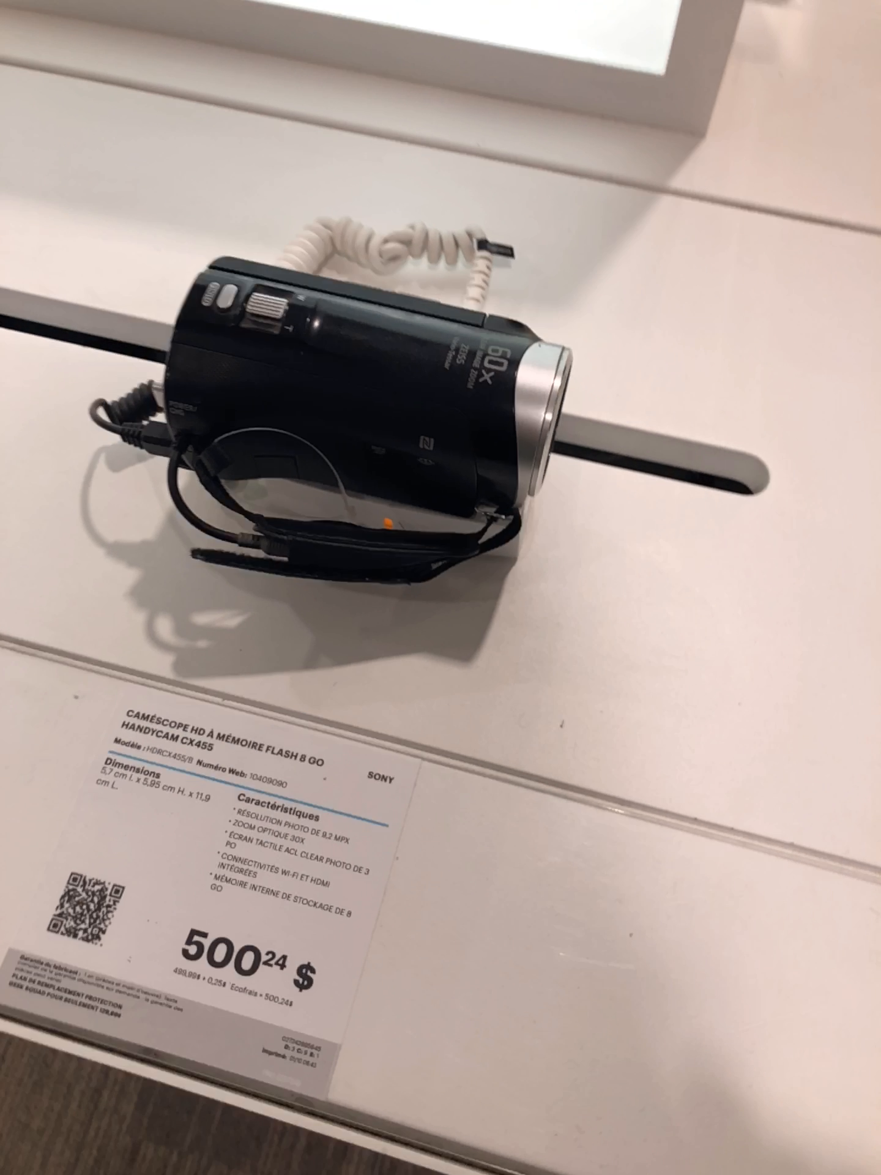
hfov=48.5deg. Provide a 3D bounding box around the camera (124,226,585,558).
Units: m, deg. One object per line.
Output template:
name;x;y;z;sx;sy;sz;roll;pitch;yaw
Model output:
camera;-0.023;-0.060;0.306;0.121;0.058;0.057;13;64;6
